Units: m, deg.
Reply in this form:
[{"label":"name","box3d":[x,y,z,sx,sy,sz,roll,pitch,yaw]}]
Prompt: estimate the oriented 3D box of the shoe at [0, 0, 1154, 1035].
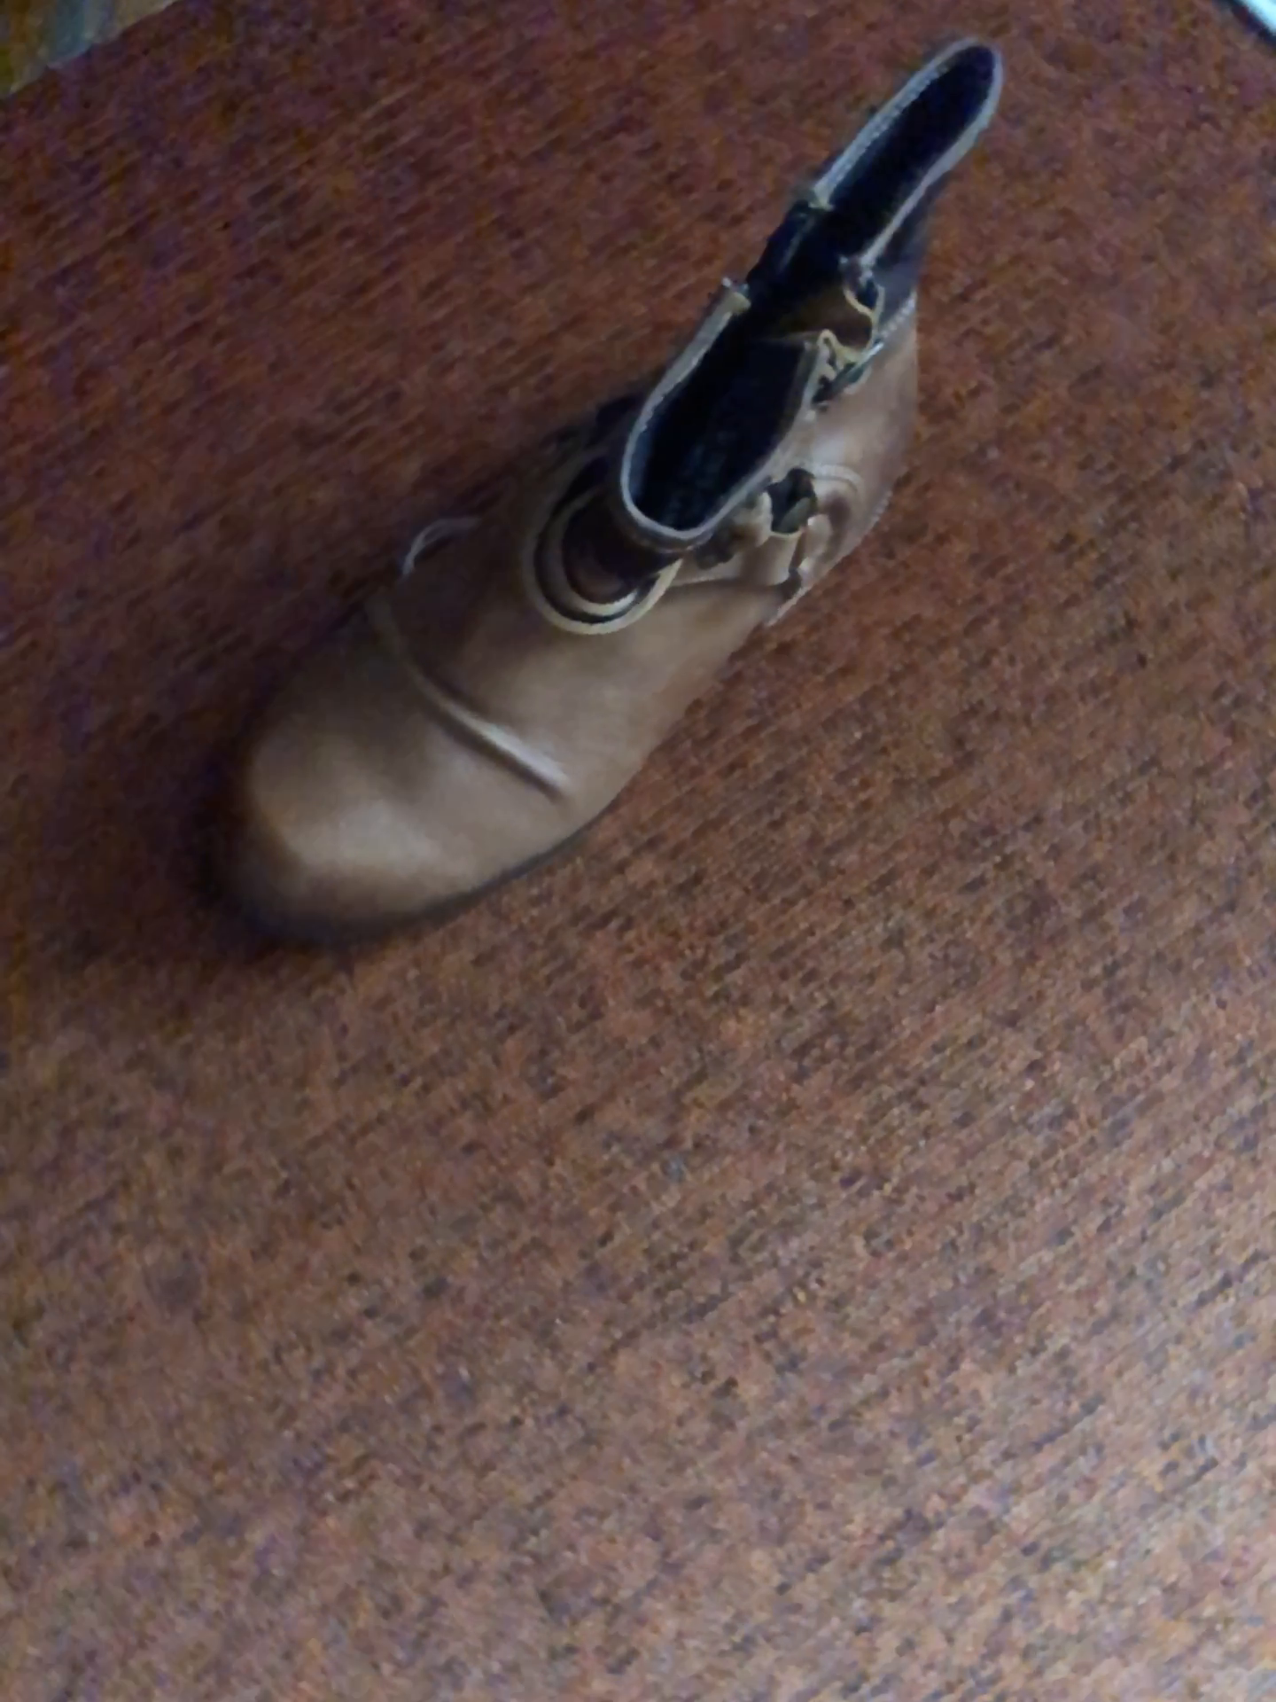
[{"label":"shoe","box3d":[-0.024,-0.083,0.414,0.280,0.190,0.110,-41,86,-6]}]
